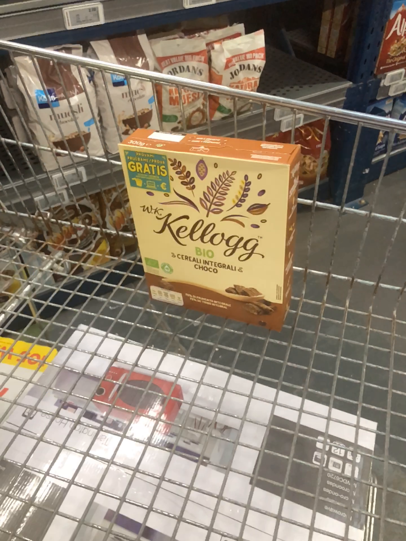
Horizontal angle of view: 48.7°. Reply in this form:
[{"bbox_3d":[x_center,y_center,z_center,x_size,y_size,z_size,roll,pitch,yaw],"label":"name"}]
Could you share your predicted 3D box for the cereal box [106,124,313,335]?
[{"bbox_3d":[0.012,-0.044,0.521,0.200,0.219,0.060,11,42,20],"label":"cereal box"}]
